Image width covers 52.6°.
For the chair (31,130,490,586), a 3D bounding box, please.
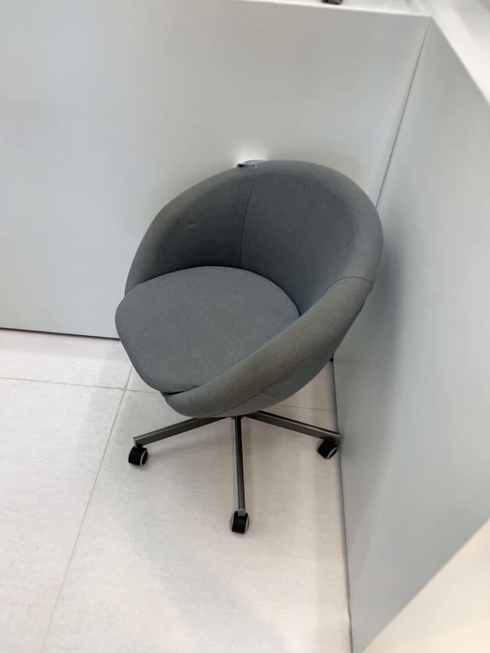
[{"bbox_3d":[0.018,0.042,1.411,0.831,0.767,0.722,-24,52,-25],"label":"chair"}]
